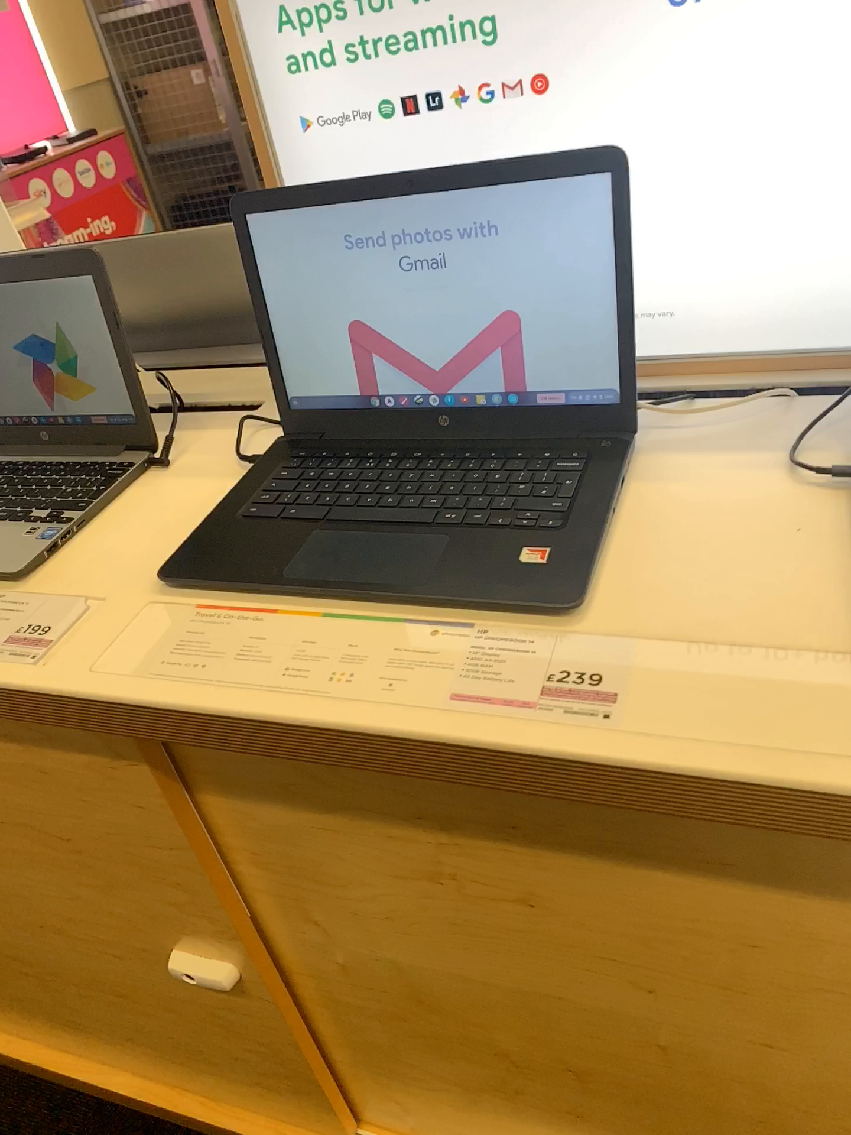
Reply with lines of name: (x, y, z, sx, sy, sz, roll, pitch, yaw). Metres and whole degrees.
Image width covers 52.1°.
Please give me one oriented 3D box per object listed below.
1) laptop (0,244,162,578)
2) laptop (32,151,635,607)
laptop: (-0.449, -0.151, 0.798, 0.271, 0.186, 0.243, 3, 39, 21)
laptop: (-0.040, -0.141, 0.645, 0.331, 0.209, 0.246, 3, 38, 23)
